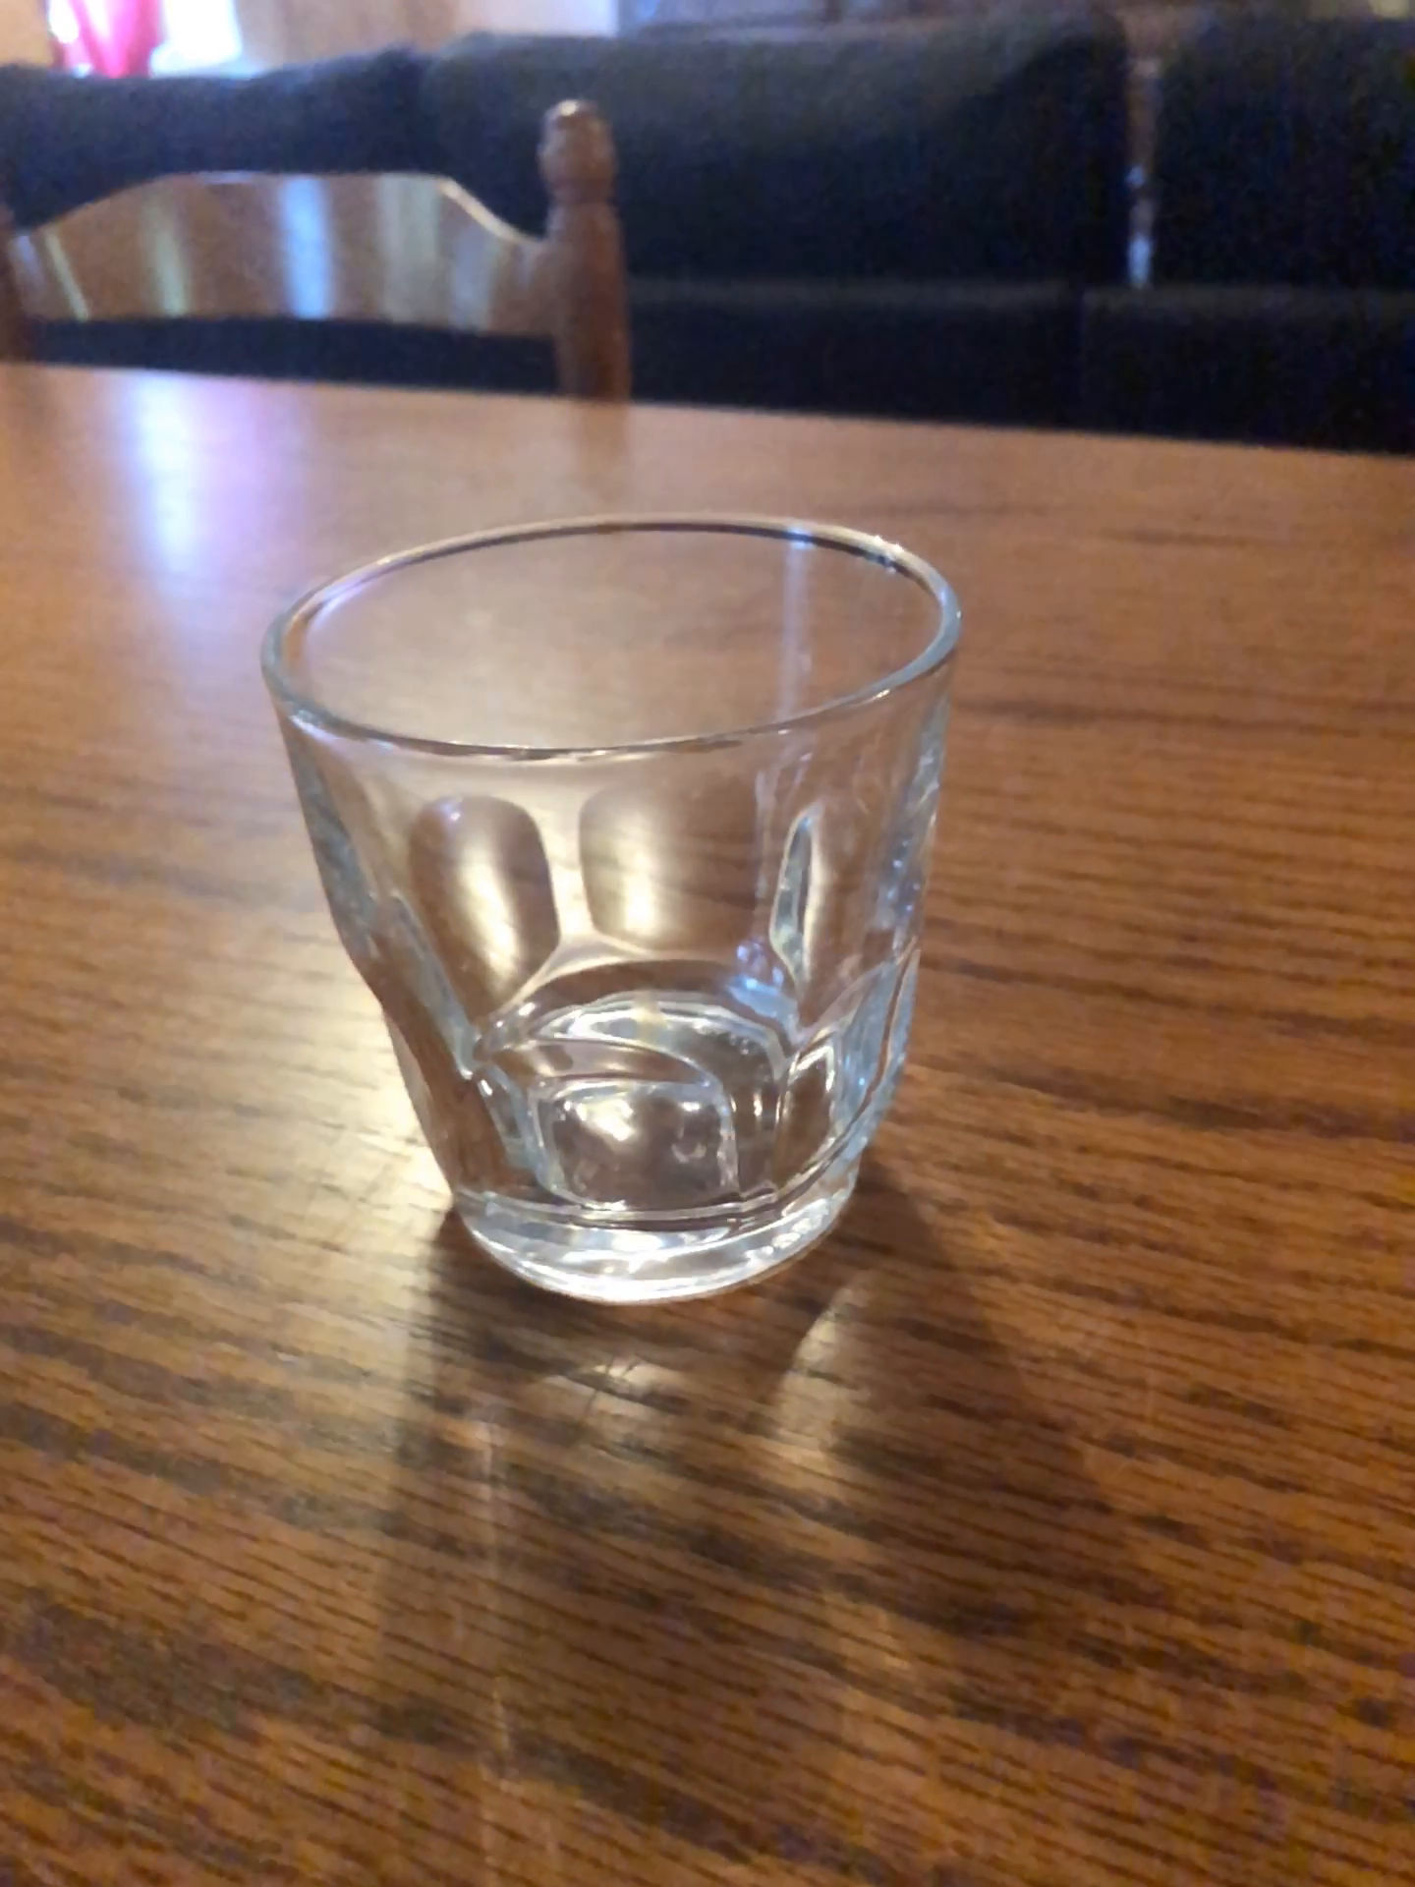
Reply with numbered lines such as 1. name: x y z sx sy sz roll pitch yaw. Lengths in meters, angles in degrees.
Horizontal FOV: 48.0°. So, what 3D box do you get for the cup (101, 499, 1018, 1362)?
1. cup: -0.009 -0.009 0.201 0.082 0.069 0.083 -2 31 1
